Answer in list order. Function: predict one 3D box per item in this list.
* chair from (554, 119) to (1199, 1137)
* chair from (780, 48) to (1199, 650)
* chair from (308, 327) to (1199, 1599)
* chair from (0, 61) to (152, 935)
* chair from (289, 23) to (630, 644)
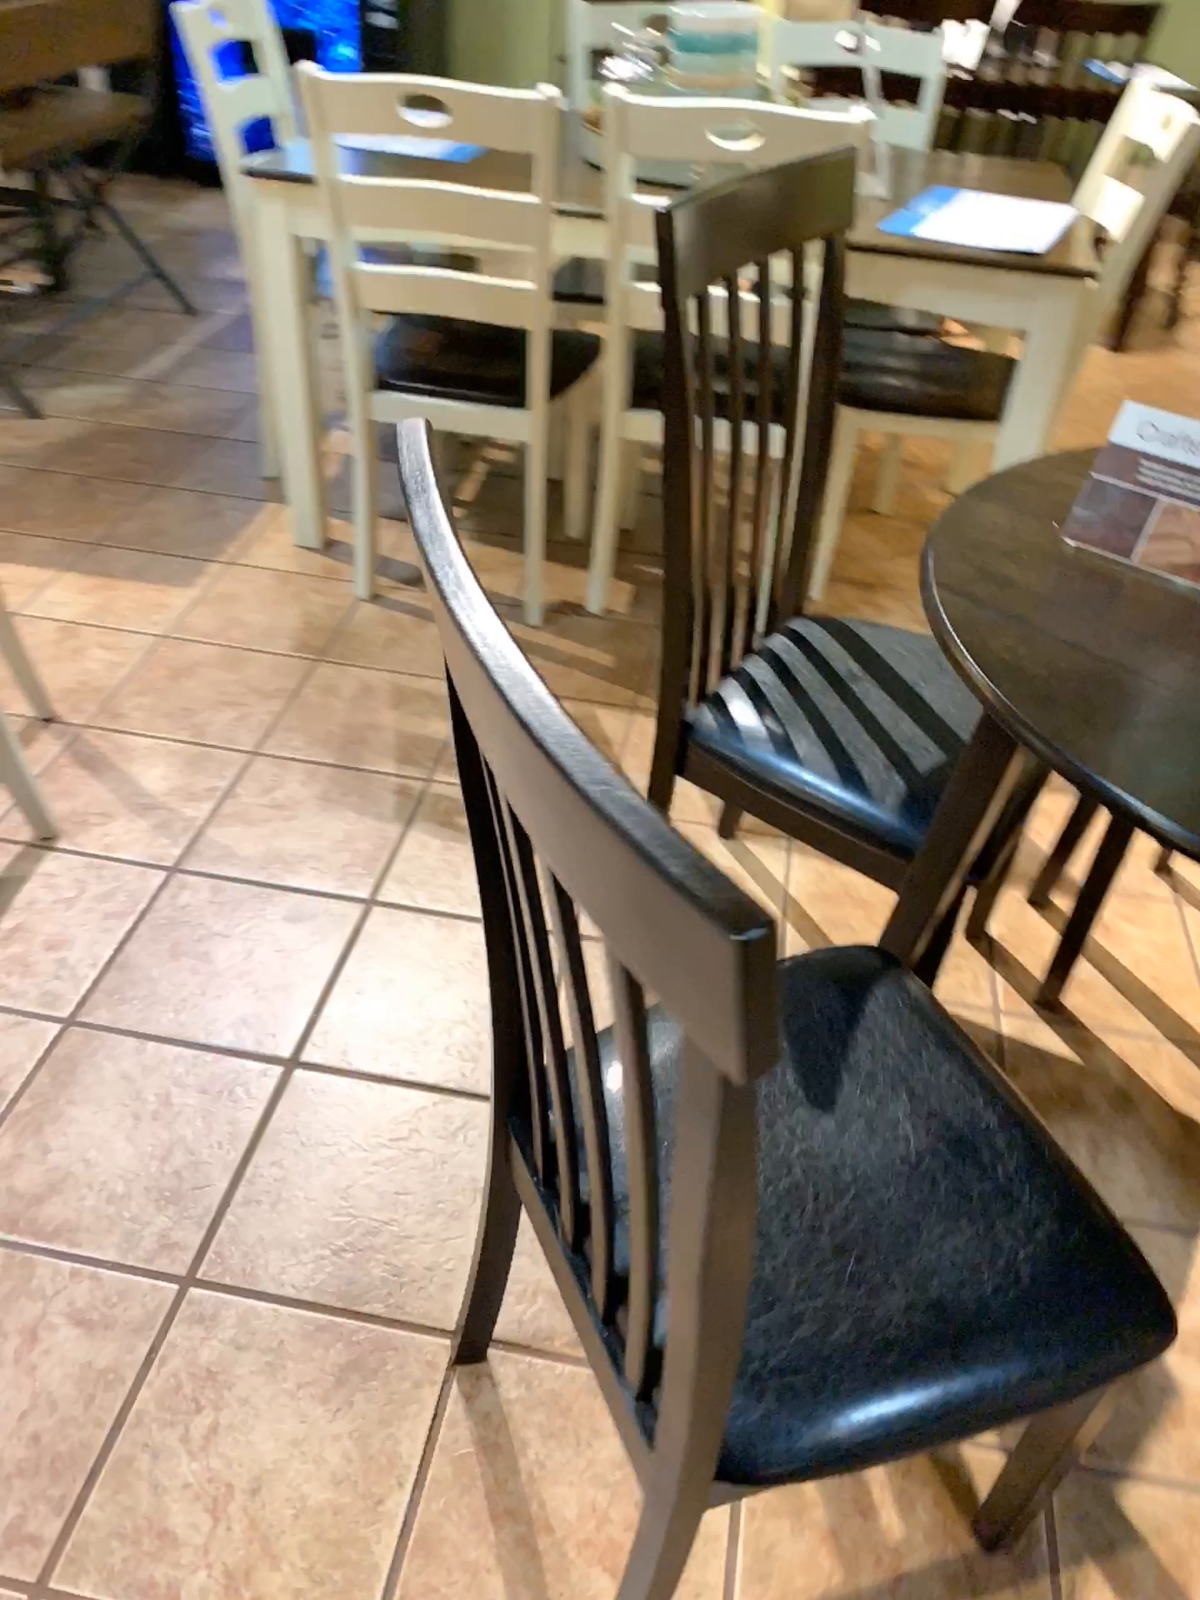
[{"bbox_3d":[0.297,-0.169,1.370,0.542,0.933,0.386,22,42,21],"label":"chair"},{"bbox_3d":[0.692,-0.807,2.240,0.521,0.884,0.406,14,39,12],"label":"chair"},{"bbox_3d":[0.160,0.225,0.877,0.562,0.923,0.456,-12,41,-19],"label":"chair"},{"bbox_3d":[-0.939,-0.366,1.534,0.542,0.894,0.466,-11,41,-18],"label":"chair"},{"bbox_3d":[-0.224,-0.835,2.224,0.404,0.894,0.544,9,39,6],"label":"chair"}]
